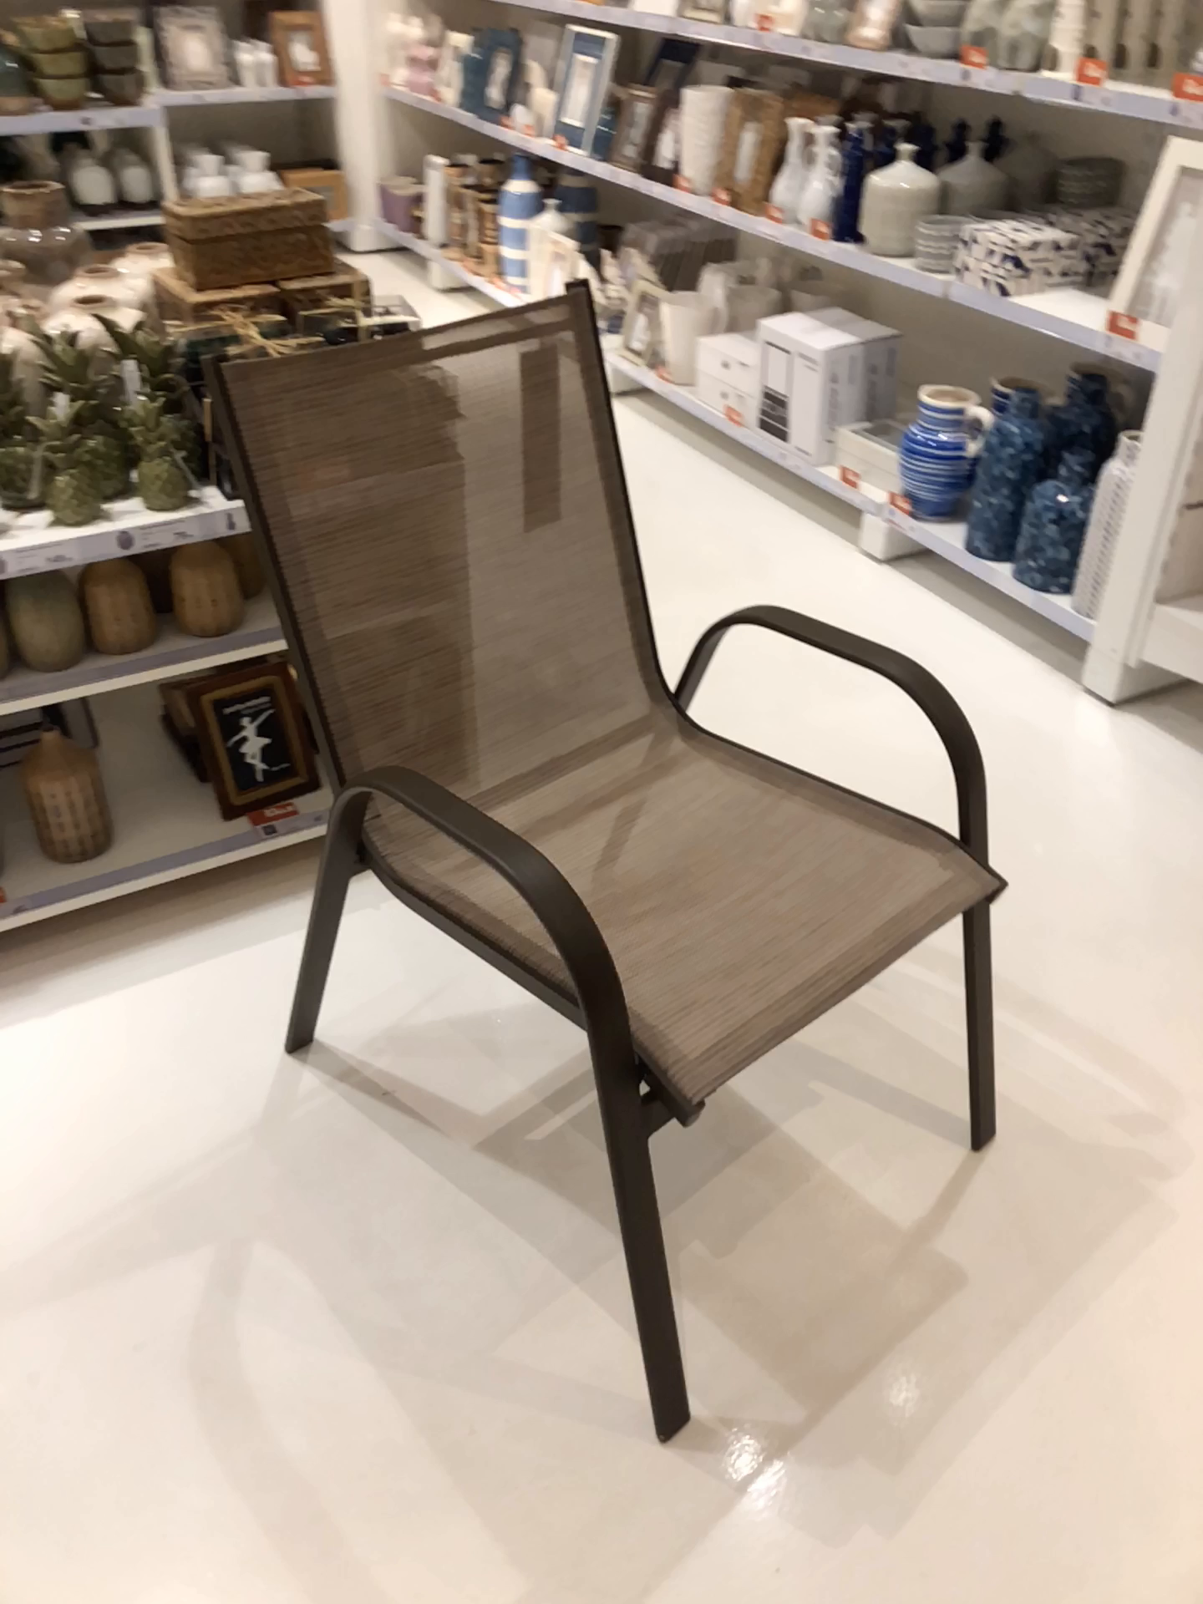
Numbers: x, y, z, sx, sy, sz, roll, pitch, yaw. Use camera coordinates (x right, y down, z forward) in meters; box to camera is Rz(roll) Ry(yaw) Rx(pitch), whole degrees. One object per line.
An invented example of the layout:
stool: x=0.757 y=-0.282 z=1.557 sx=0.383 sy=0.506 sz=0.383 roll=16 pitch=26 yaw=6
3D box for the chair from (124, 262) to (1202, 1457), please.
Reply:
chair: x=0.041 y=-0.014 z=1.321 sx=0.603 sy=0.794 sz=0.702 roll=-27 pitch=43 yaw=-34
